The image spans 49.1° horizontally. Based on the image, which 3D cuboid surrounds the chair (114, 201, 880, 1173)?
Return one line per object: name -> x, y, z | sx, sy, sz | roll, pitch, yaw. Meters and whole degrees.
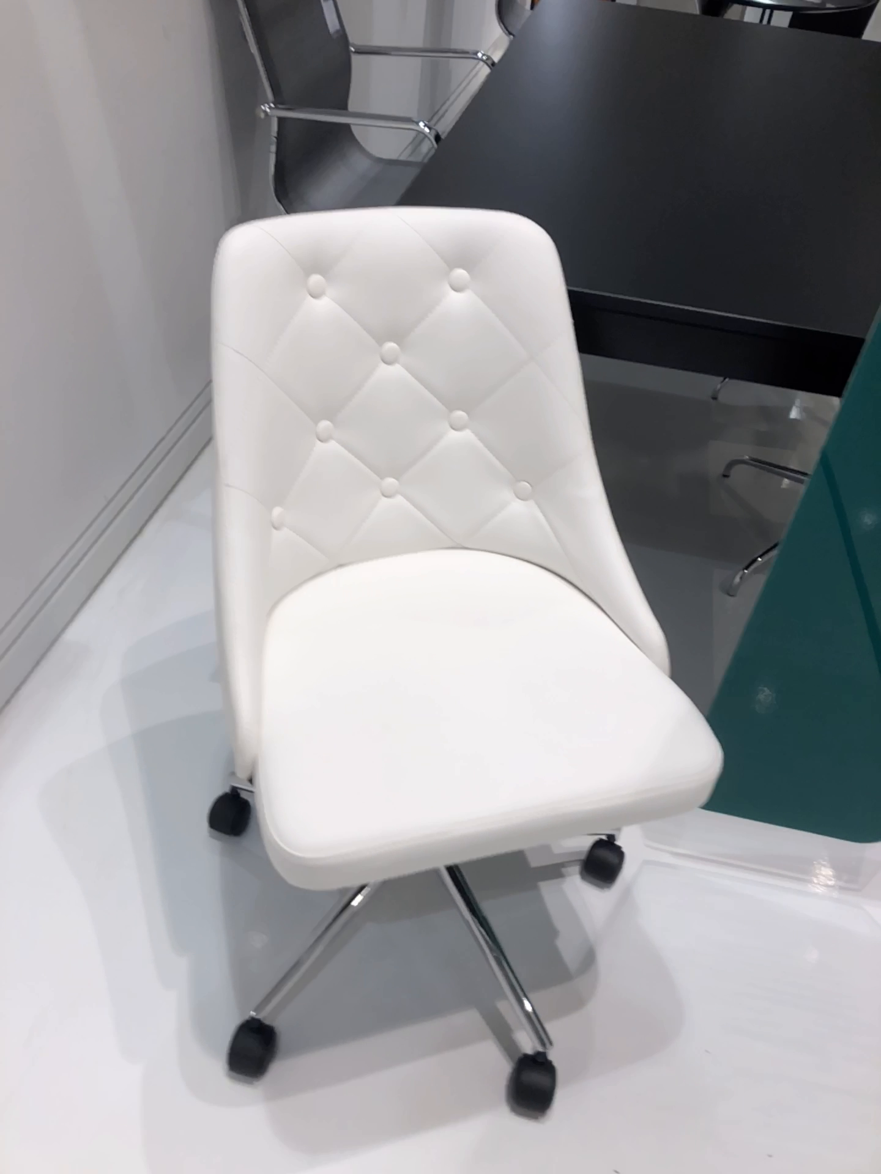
chair -> 0.007, 0.113, 1.096 | 0.601, 0.854, 0.644 | -7, 42, -15
